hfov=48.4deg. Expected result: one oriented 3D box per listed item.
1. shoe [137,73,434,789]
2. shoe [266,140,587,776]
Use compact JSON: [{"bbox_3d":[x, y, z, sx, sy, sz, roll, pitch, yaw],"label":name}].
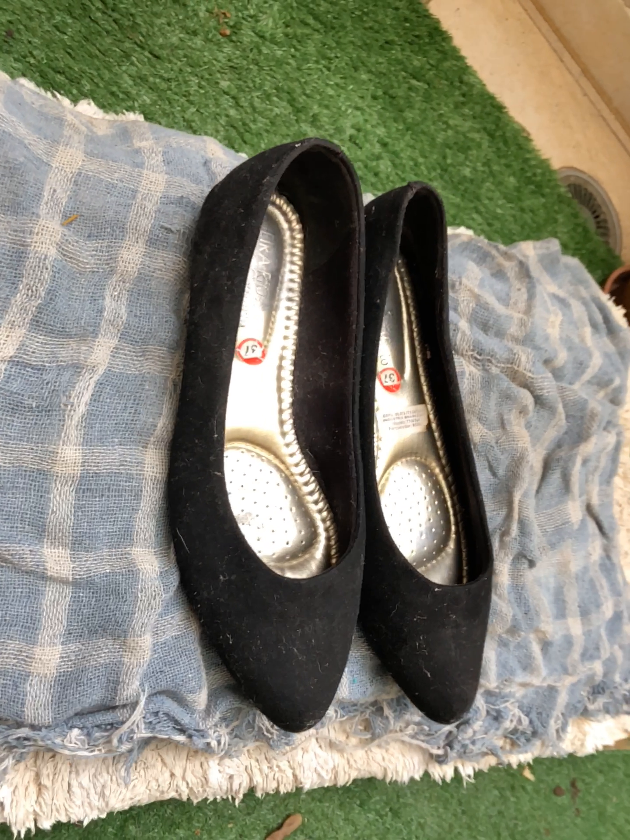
[{"bbox_3d":[-0.020,0.001,0.318,0.090,0.080,0.270,0,81,-30],"label":"shoe"},{"bbox_3d":[0.050,0.013,0.352,0.090,0.080,0.270,-4,83,-30],"label":"shoe"}]
